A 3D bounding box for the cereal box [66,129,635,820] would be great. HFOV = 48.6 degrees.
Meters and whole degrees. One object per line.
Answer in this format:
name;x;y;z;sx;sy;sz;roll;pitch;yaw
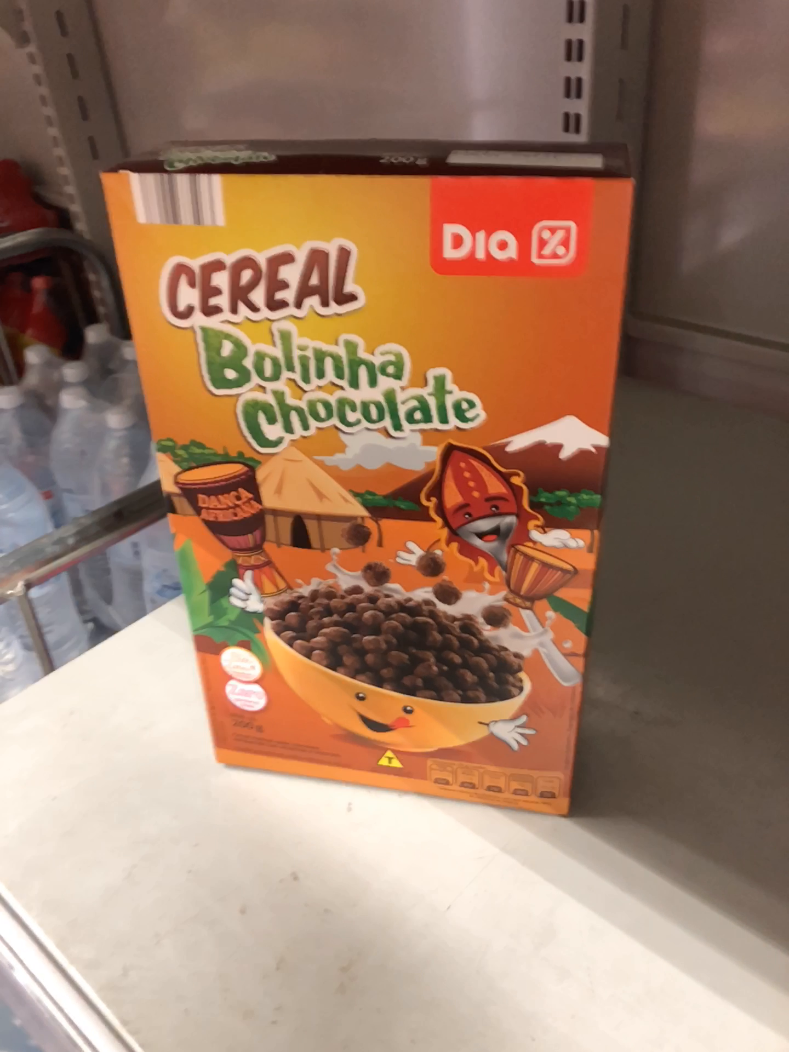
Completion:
cereal box;-0.010;-0.010;0.344;0.170;0.258;0.060;6;31;10
